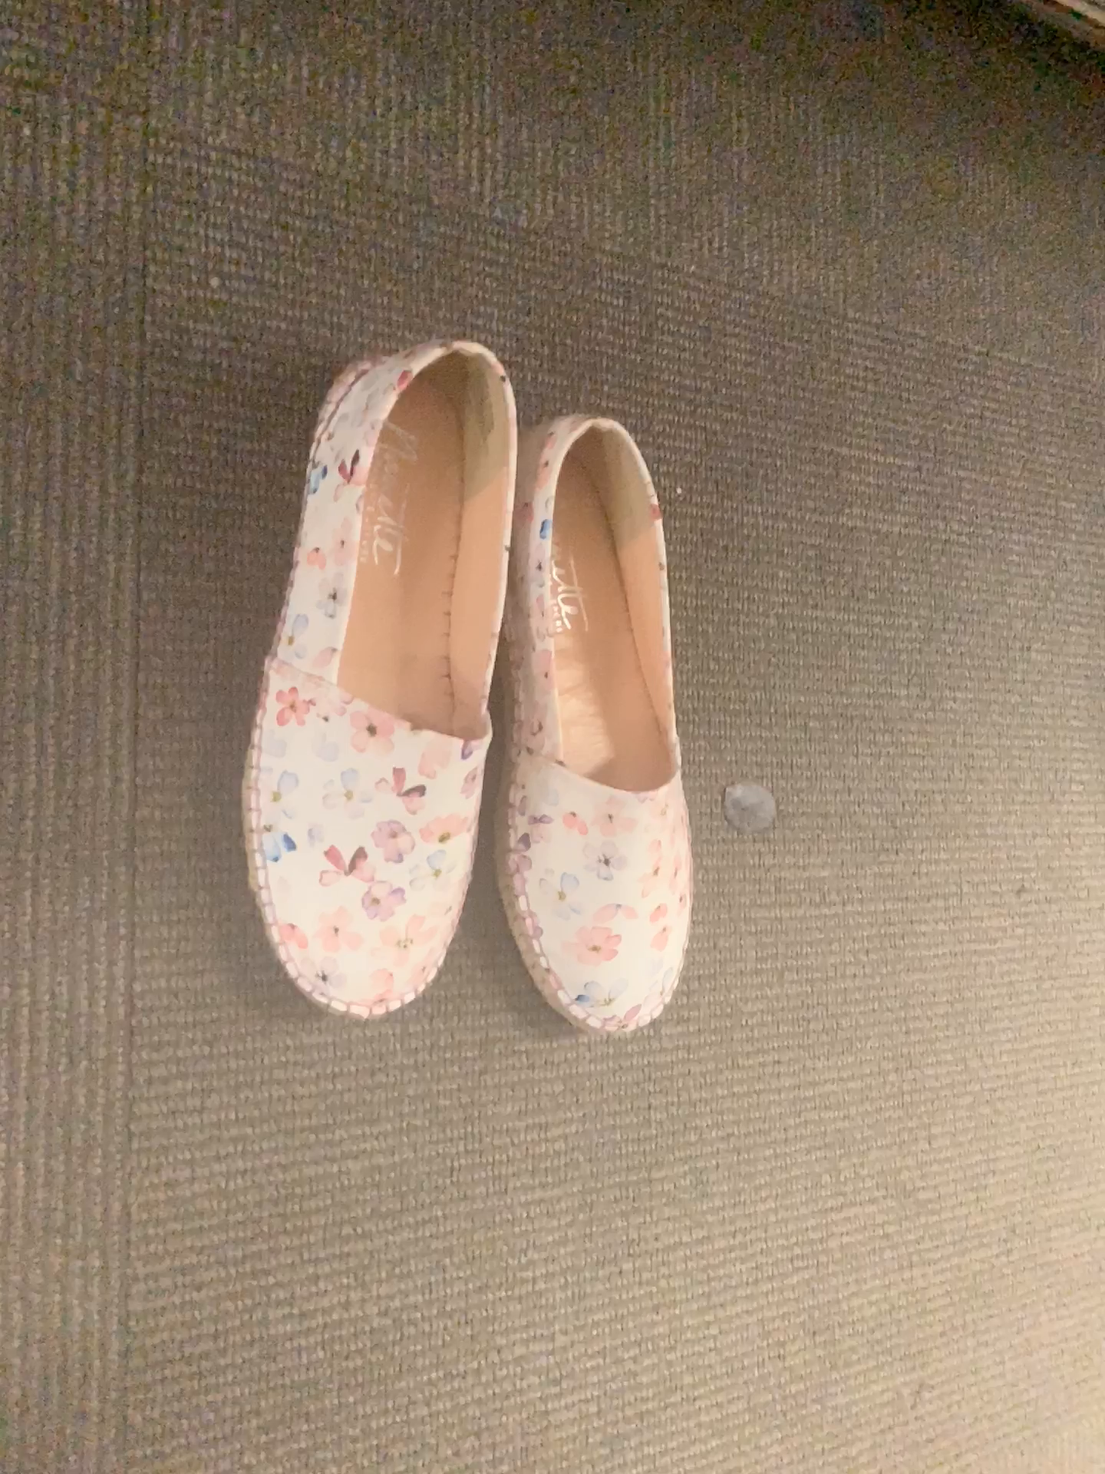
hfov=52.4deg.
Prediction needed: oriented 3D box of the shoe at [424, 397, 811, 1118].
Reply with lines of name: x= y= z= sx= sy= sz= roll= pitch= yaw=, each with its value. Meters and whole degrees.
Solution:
shoe: x=0.025 y=0.004 z=0.463 sx=0.092 sy=0.080 sz=0.263 roll=-10 pitch=91 yaw=-28

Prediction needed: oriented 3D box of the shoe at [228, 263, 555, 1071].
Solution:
shoe: x=-0.061 y=-0.021 z=0.420 sx=0.092 sy=0.080 sz=0.263 roll=3 pitch=85 yaw=-28
